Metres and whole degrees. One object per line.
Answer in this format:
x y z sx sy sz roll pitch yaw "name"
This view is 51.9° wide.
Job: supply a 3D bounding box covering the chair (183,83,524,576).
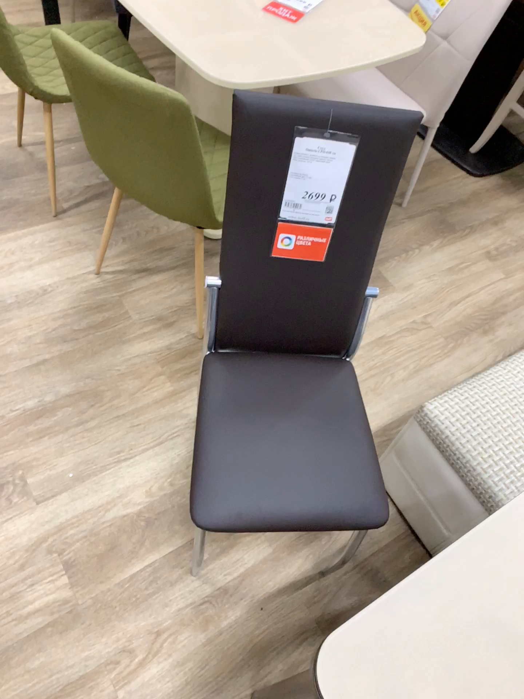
0.074 0.089 1.122 0.420 0.996 0.502 4 55 -7 "chair"
